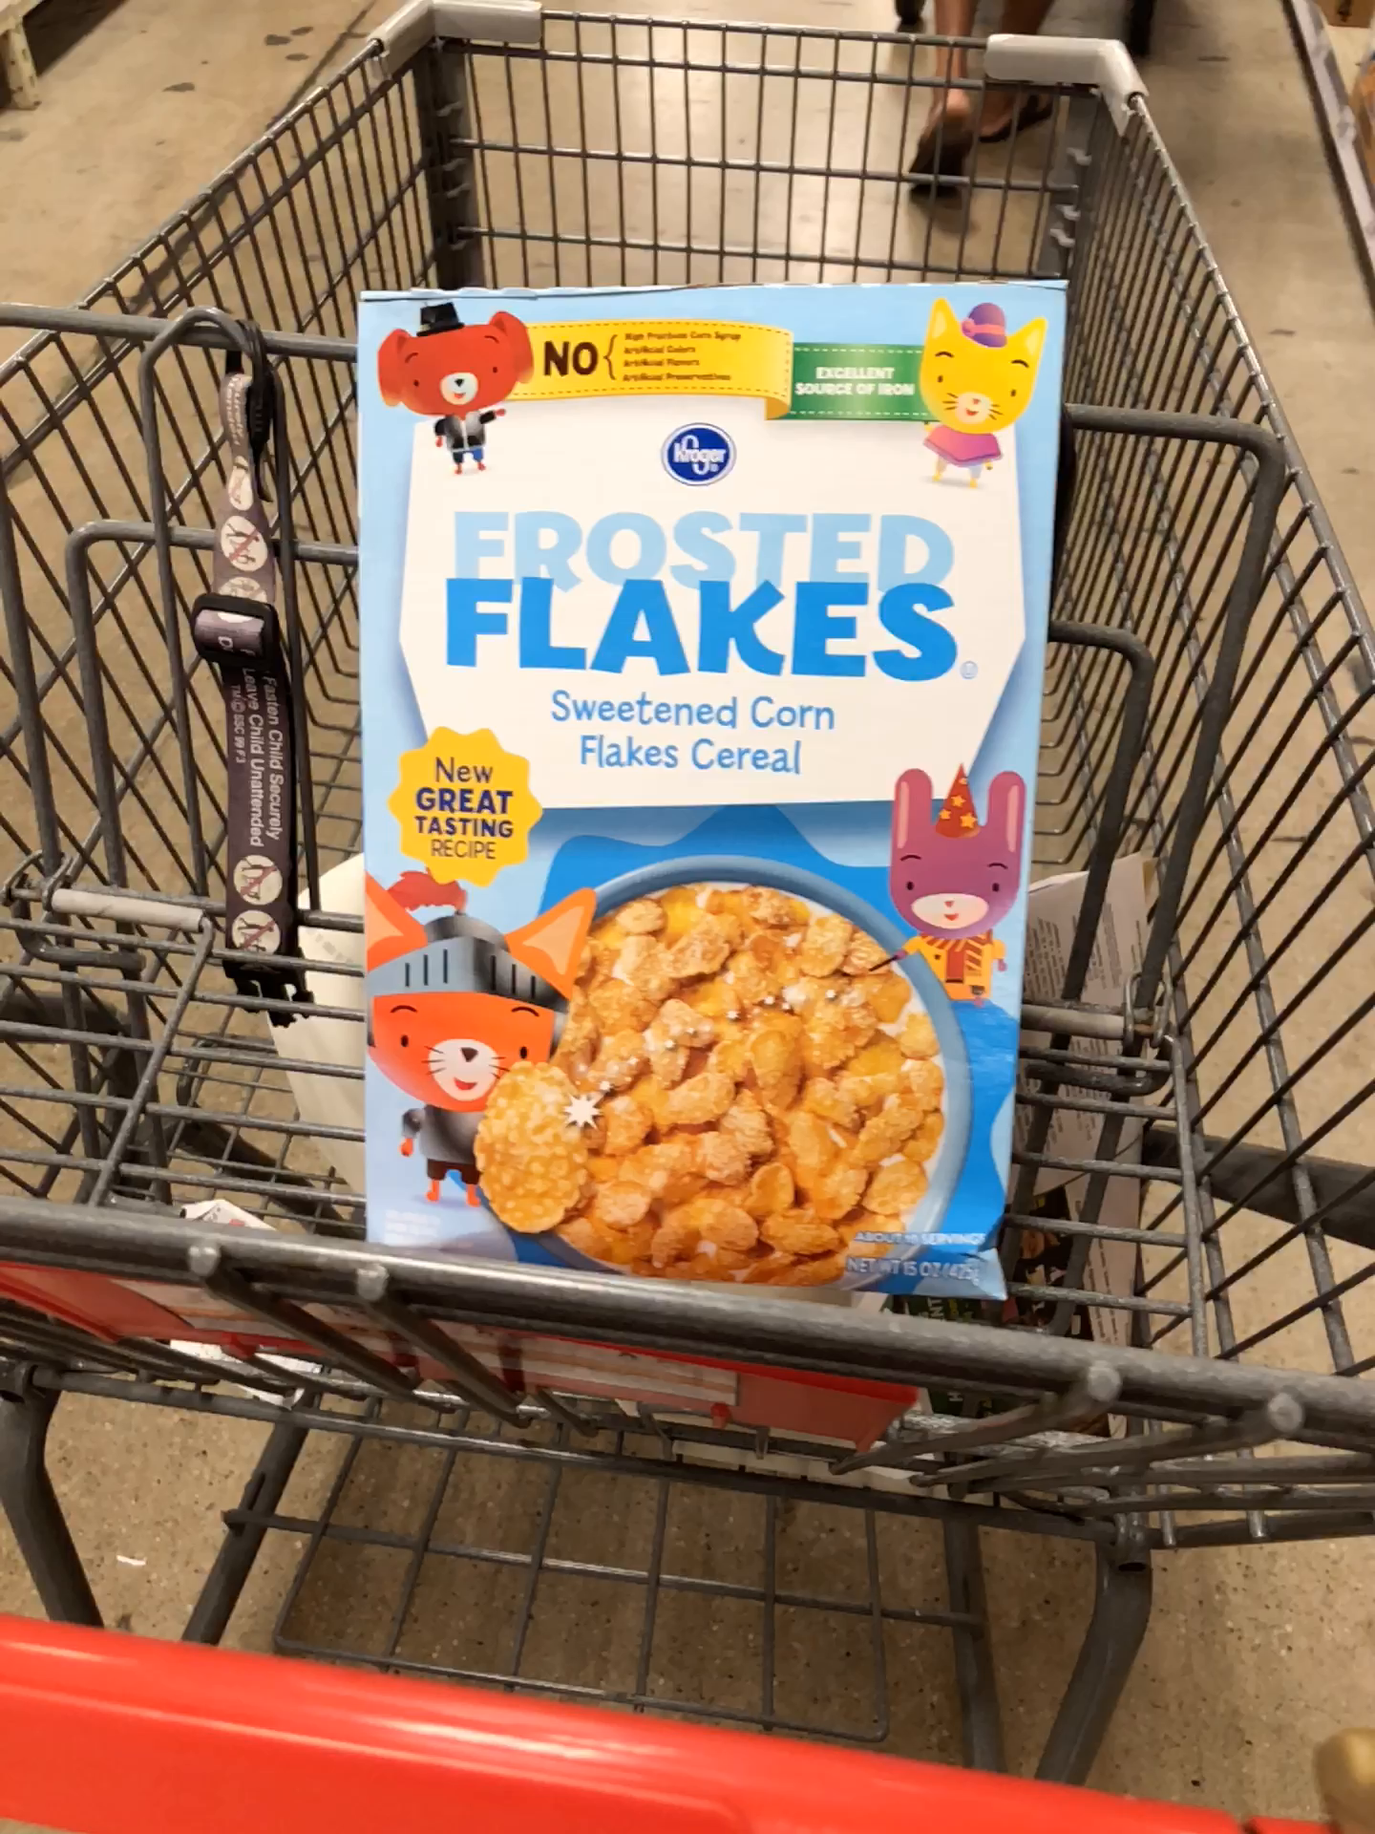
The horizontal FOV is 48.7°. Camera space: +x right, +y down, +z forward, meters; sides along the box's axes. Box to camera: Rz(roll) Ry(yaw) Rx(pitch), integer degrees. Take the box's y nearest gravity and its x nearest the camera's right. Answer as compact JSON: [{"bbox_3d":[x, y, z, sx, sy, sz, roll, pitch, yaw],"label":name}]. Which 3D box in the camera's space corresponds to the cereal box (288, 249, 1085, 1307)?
[{"bbox_3d":[-0.004,-0.036,0.435,0.200,0.270,0.070,2,6,2],"label":"cereal box"}]
